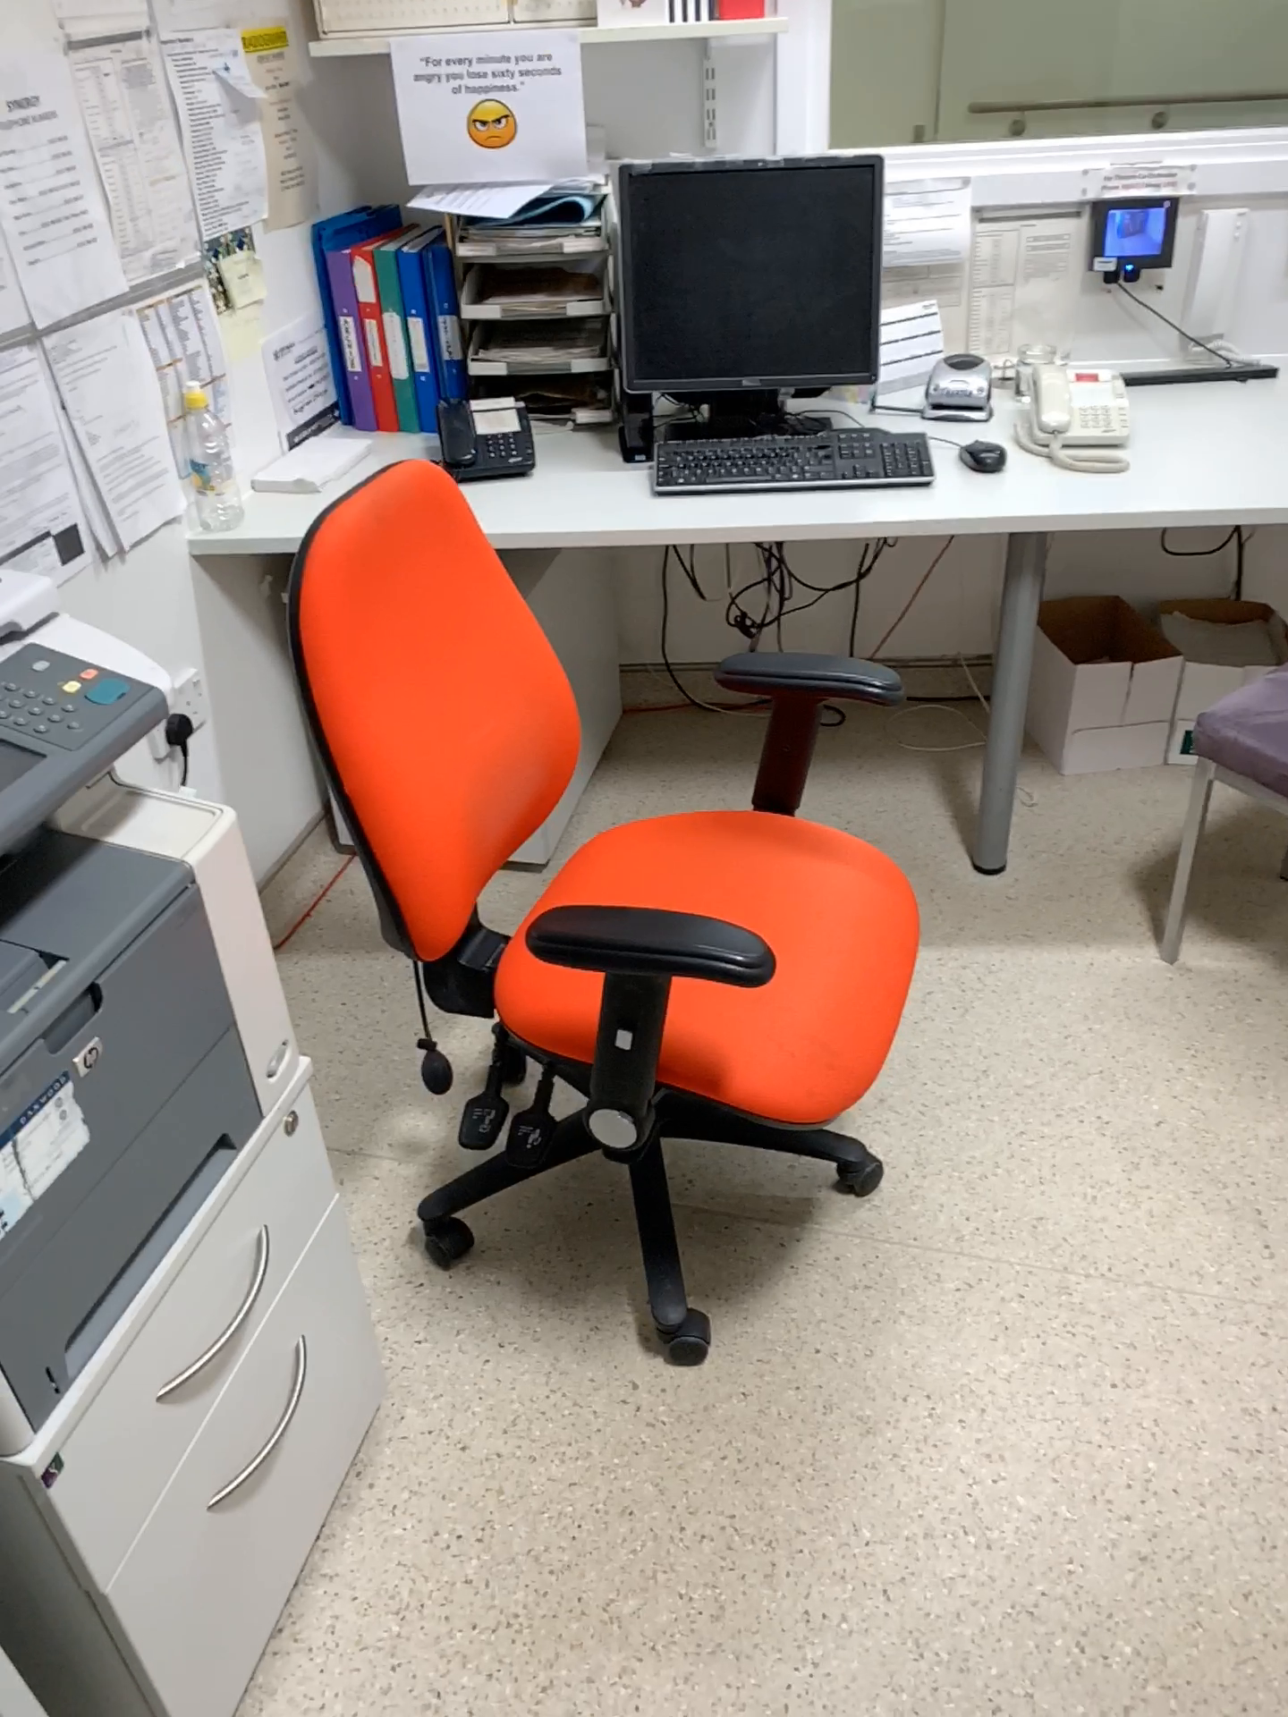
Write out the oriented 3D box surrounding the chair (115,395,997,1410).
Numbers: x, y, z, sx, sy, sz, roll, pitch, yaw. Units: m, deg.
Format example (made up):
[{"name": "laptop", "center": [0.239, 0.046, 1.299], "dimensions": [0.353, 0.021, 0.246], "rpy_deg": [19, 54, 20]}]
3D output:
[{"name": "chair", "center": [-0.024, 0.008, 1.571], "dimensions": [0.685, 0.893, 0.656], "rpy_deg": [11, 36, 19]}]
